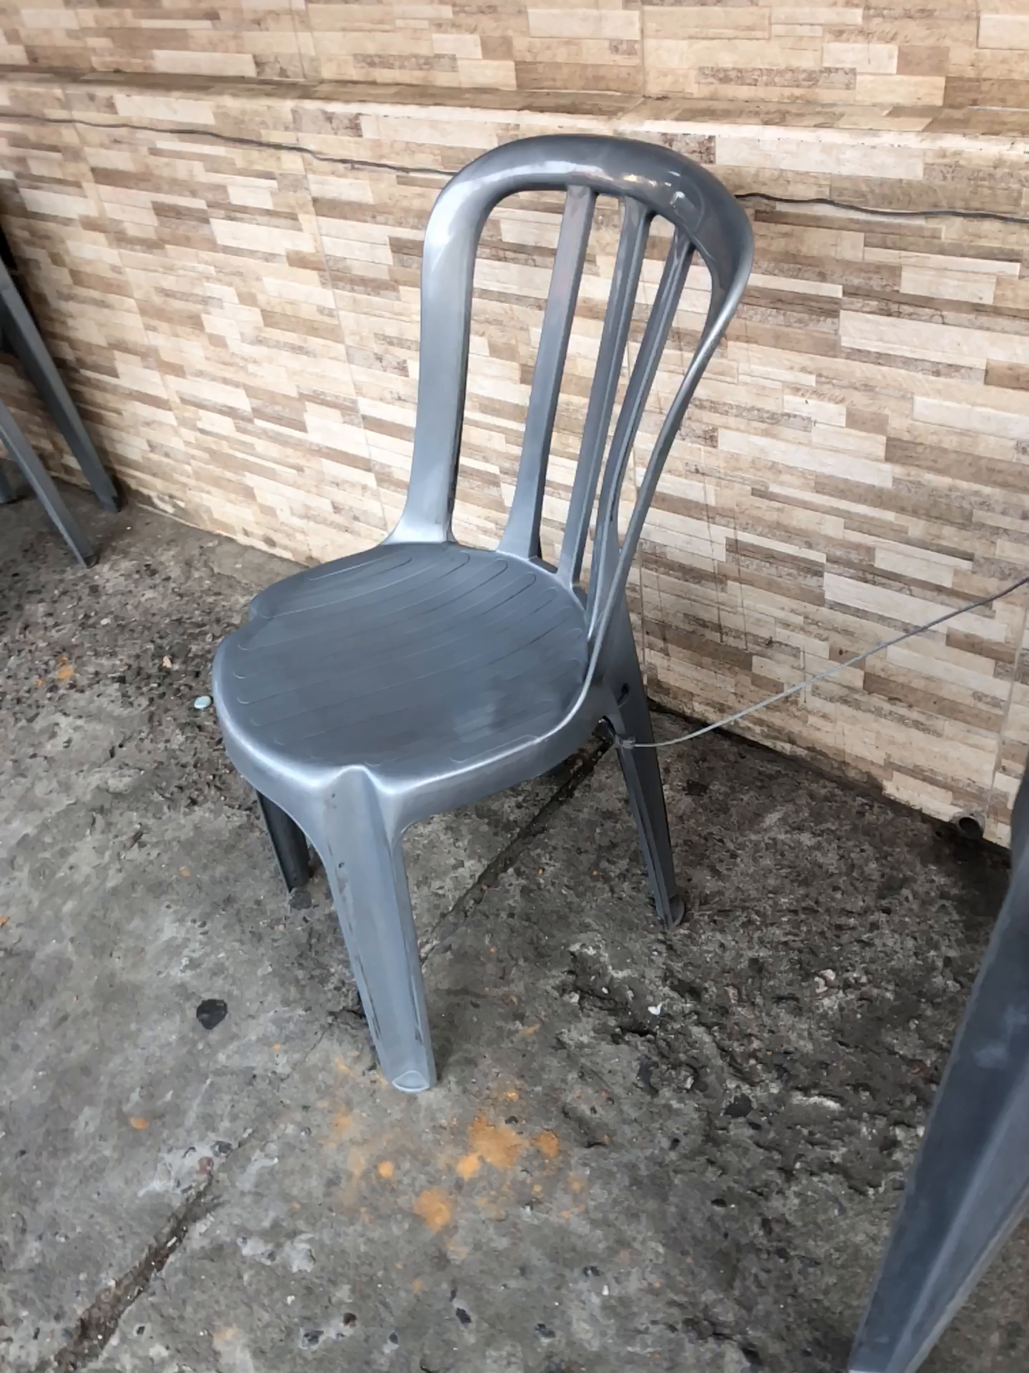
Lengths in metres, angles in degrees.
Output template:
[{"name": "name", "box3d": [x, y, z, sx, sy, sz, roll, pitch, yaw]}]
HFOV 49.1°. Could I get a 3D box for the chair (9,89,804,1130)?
[{"name": "chair", "box3d": [-0.065, -0.068, 1.154, 0.501, 0.834, 0.443, -24, 41, -18]}]
